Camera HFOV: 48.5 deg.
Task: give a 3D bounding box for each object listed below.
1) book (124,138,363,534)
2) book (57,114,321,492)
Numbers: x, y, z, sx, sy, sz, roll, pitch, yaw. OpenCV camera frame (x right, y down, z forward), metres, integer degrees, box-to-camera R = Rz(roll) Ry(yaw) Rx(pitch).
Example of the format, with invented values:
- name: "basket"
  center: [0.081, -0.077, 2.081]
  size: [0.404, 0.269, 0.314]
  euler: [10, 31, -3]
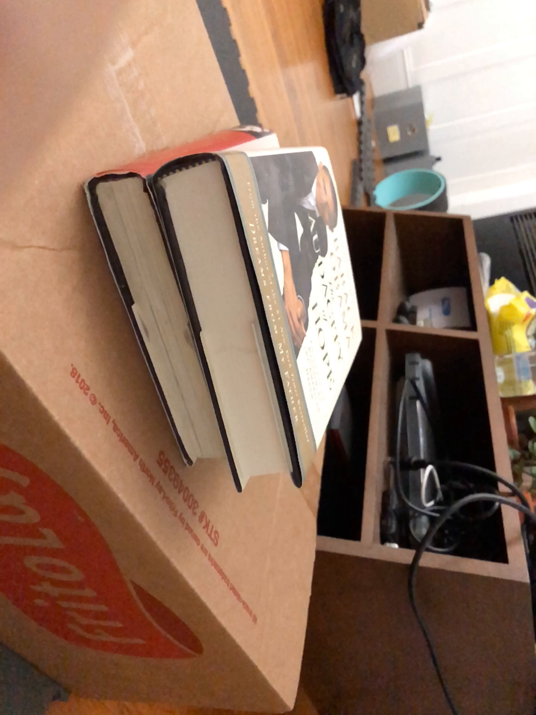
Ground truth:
- name: "book"
  center: [0.010, -0.040, 0.392]
  size: [0.251, 0.040, 0.190]
  euler: [-51, 130, -65]
- name: "book"
  center: [-0.023, -0.059, 0.397]
  size: [0.251, 0.040, 0.170]
  euler: [-60, 139, -60]
